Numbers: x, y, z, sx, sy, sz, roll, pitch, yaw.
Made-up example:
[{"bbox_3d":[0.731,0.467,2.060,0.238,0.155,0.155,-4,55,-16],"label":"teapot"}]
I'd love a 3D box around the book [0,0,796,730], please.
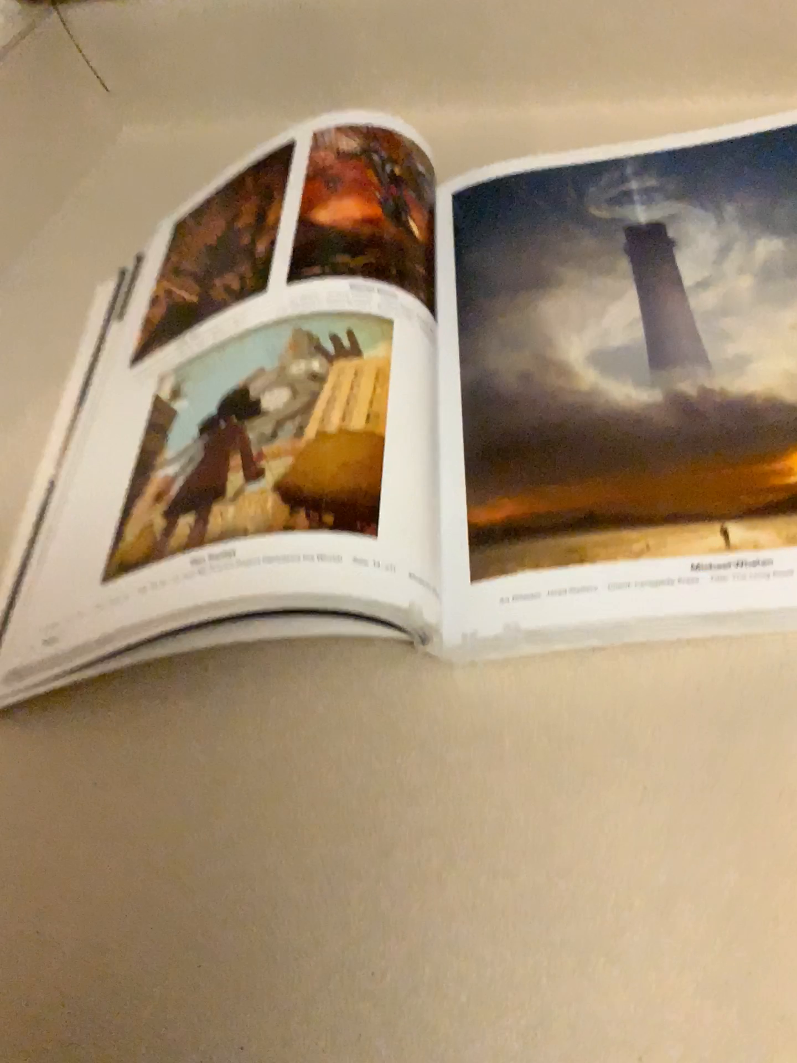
[{"bbox_3d":[0.021,-0.094,0.405,0.450,0.070,0.320,-8,52,12],"label":"book"}]
